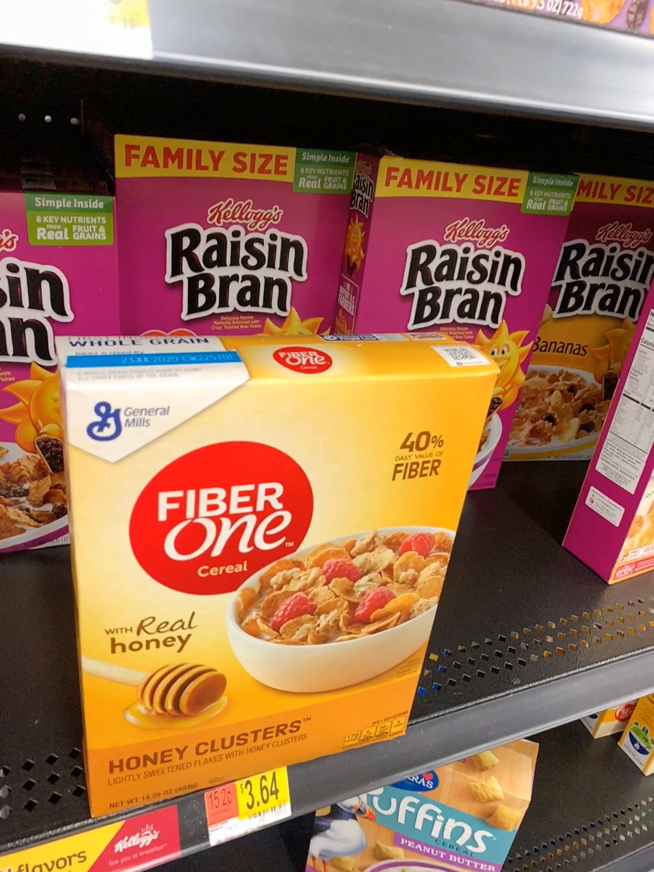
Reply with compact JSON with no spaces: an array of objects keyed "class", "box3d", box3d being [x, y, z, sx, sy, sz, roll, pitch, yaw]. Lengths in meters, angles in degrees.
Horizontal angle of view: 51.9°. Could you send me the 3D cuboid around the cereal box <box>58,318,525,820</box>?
[{"class":"cereal box","box3d":[-0.024,0.072,0.356,0.200,0.259,0.050,-5,30,-22]}]
